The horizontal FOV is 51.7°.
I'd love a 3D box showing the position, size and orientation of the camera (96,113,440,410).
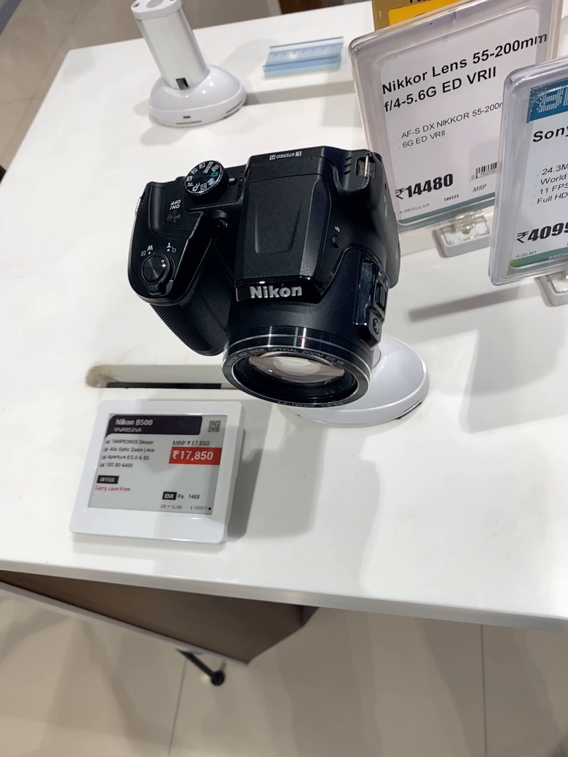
[{"bbox_3d":[0.003,-0.040,0.233,0.113,0.070,0.083,0,66,16],"label":"camera"}]
